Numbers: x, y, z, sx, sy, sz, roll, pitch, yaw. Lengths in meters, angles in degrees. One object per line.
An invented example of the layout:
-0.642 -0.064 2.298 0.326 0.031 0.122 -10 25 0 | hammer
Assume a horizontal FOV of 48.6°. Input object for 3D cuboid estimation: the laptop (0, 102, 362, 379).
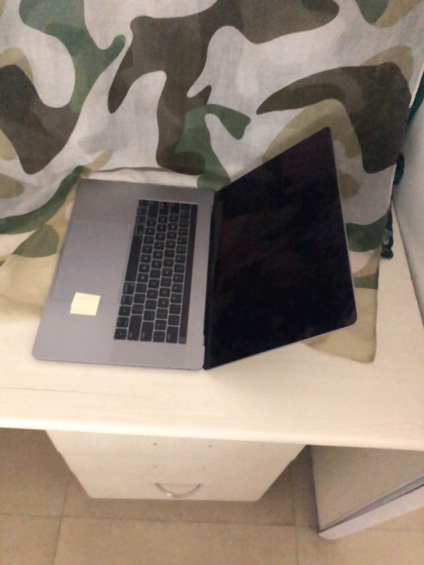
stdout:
-0.034 -0.069 0.684 0.402 0.165 0.343 4 55 -1 | laptop
